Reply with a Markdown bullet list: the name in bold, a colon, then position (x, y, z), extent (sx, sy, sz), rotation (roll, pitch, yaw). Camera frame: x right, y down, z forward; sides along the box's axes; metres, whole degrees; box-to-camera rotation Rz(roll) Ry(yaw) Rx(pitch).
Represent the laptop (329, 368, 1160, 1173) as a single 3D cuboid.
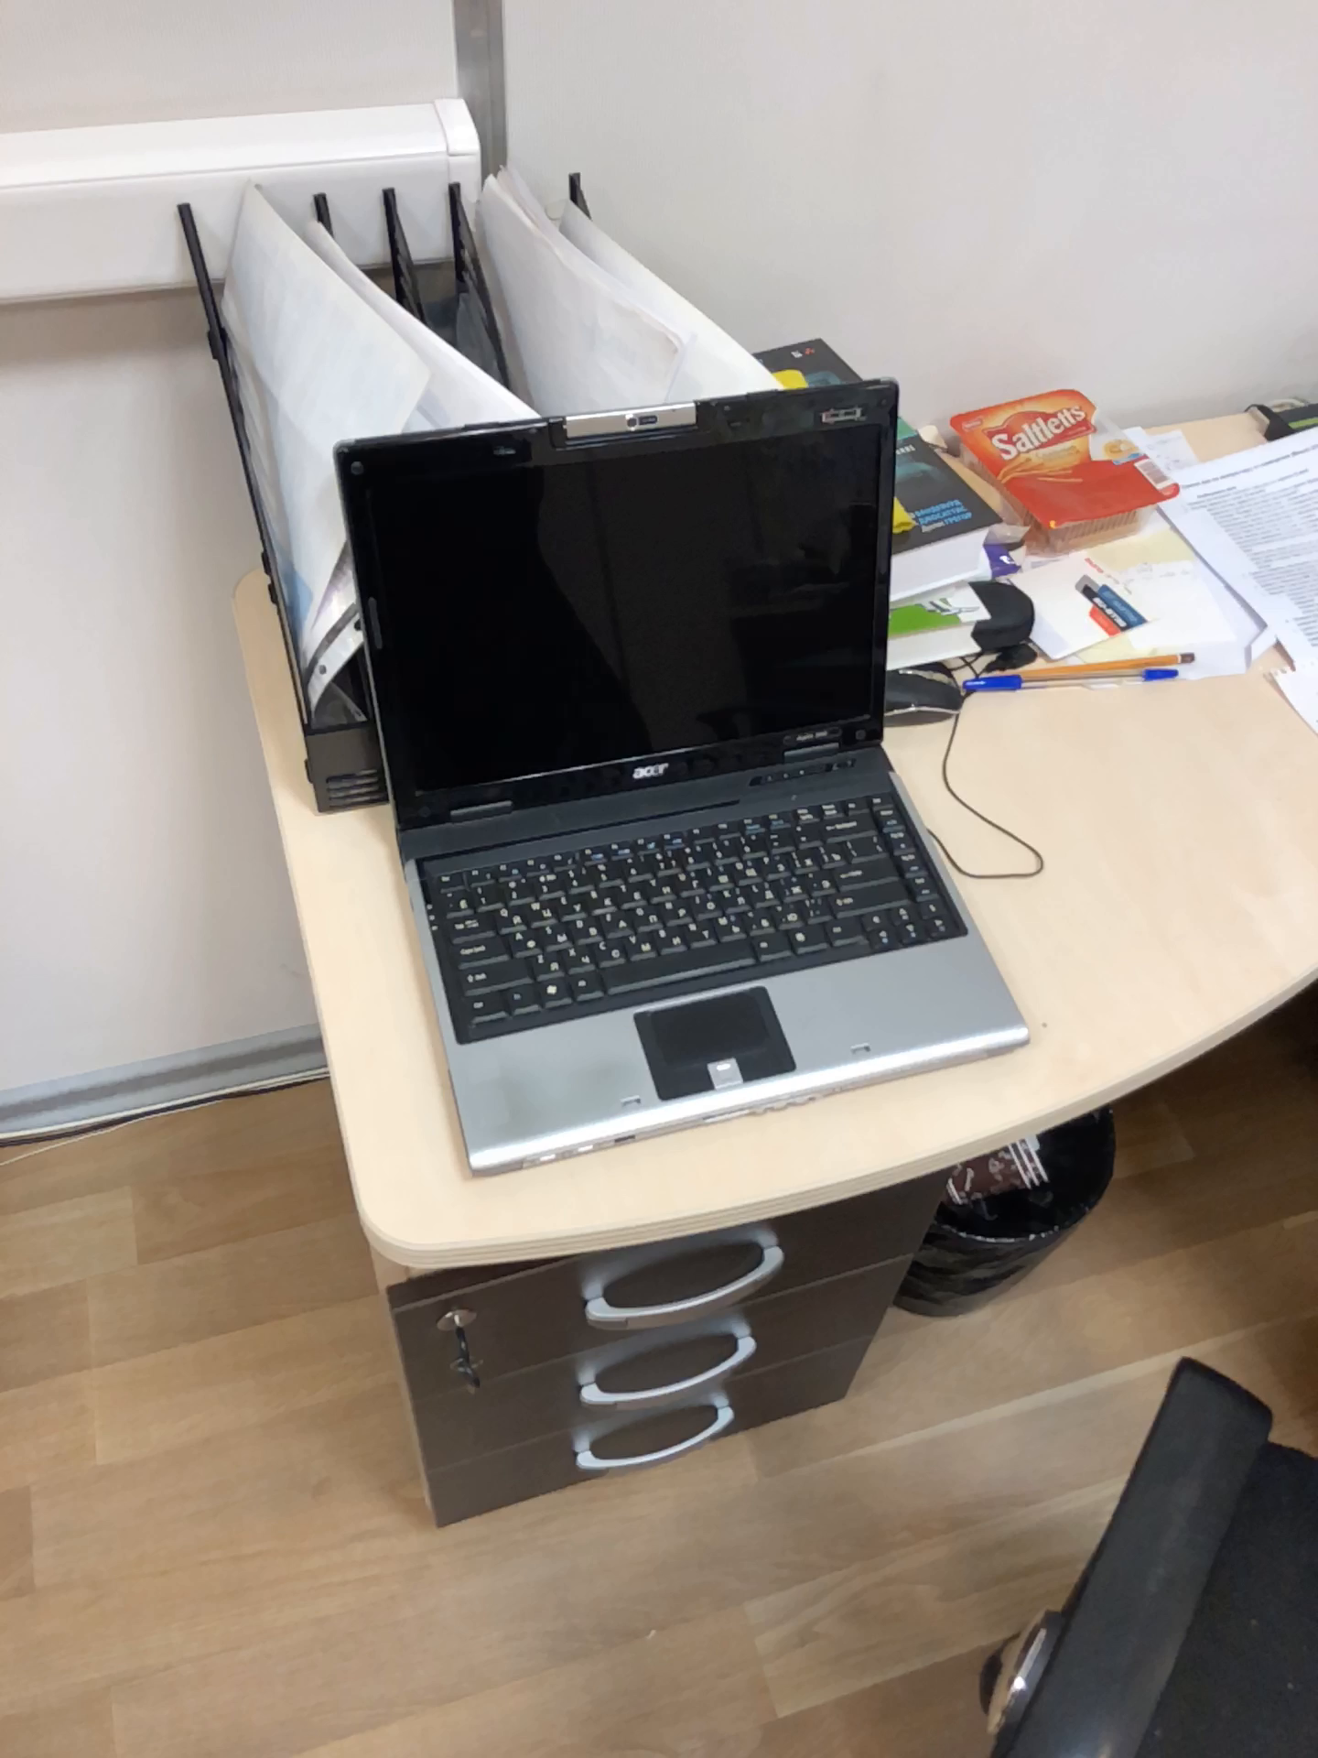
- **laptop**: position (0.020, -0.071, 0.793), extent (0.326, 0.219, 0.324), rotation (-11, 54, -12)
